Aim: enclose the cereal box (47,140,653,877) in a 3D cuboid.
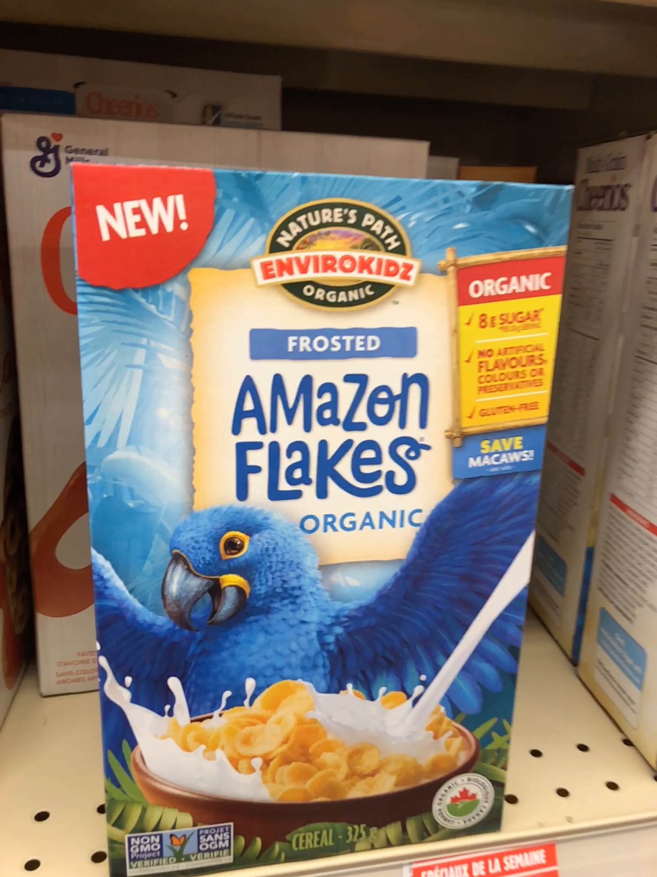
[{"bbox_3d":[0.003,0.035,0.258,0.170,0.249,0.050,-1,17,-12],"label":"cereal box"}]
